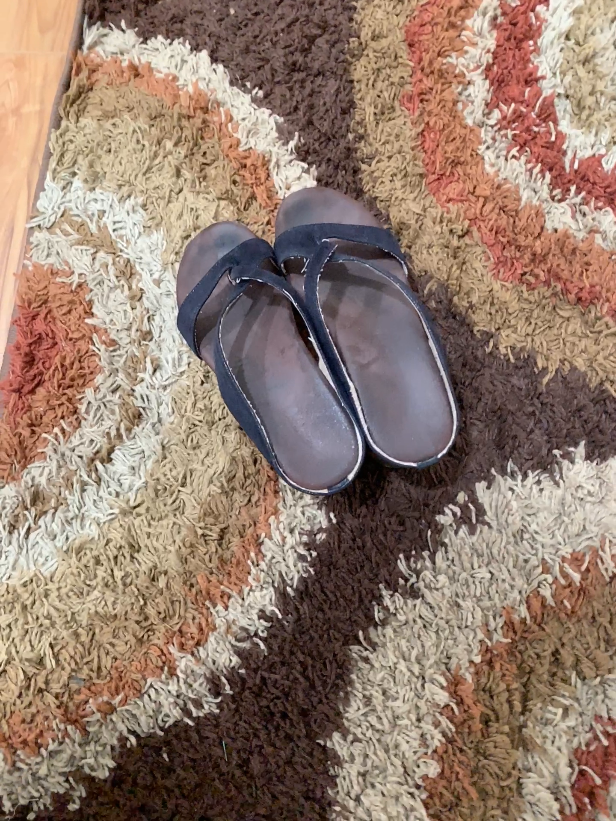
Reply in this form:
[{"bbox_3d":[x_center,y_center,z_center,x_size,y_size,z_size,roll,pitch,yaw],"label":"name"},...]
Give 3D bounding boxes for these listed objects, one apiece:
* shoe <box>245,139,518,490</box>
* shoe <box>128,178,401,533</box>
[{"bbox_3d":[0.044,-0.068,0.435,0.084,0.052,0.224,-25,76,-2],"label":"shoe"},{"bbox_3d":[-0.032,-0.038,0.440,0.090,0.062,0.223,-27,76,-3],"label":"shoe"}]
